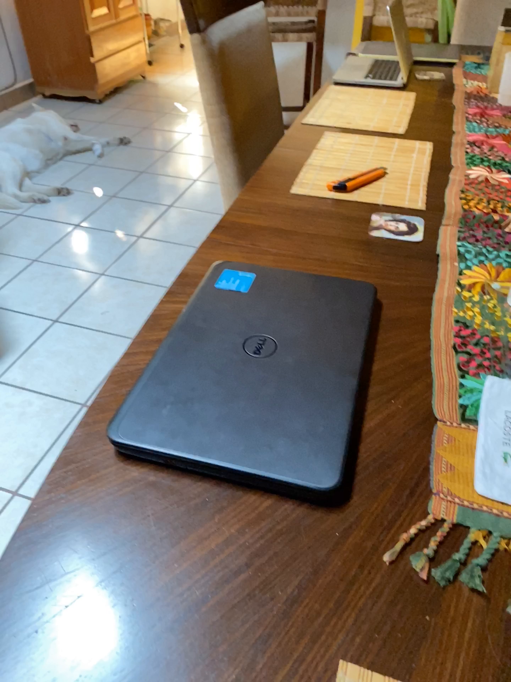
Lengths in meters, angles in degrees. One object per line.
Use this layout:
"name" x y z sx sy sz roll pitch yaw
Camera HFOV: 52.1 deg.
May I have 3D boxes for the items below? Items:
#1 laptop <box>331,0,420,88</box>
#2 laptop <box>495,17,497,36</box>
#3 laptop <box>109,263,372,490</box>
"laptop" 0.388 -0.965 1.678 0.216 0.194 0.320 12 41 15
"laptop" 0.702 -0.918 1.523 0.002 0.003 0.281 -13 31 32
"laptop" 0.007 0.012 0.671 0.248 0.001 0.354 11 42 12
